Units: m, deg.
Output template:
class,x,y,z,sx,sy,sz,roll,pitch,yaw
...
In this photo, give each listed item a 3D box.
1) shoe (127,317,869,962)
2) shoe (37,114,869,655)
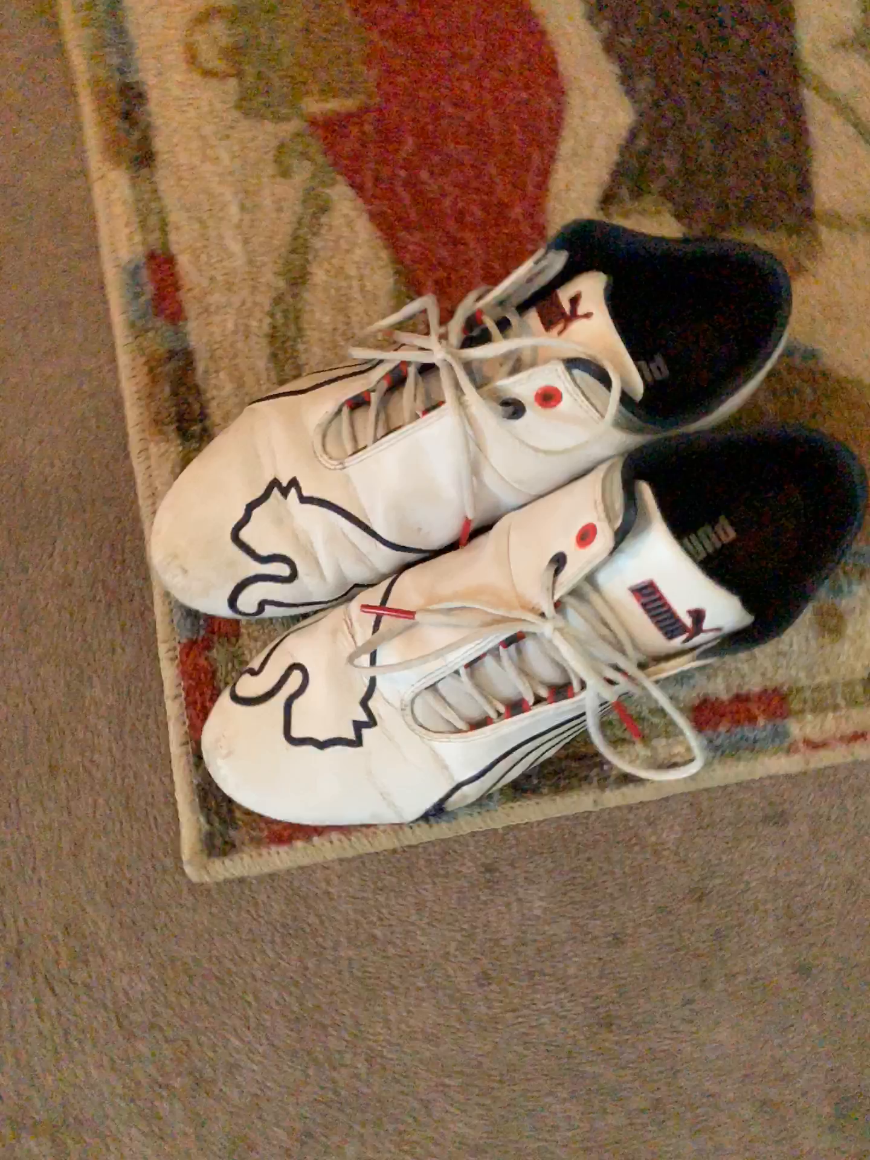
class,x,y,z,sx,sy,sz,roll,pitch,yaw
shoe,0.051,0.017,0.346,0.290,0.107,0.100,-24,83,-11
shoe,0.016,-0.074,0.363,0.290,0.107,0.100,-20,82,-11
